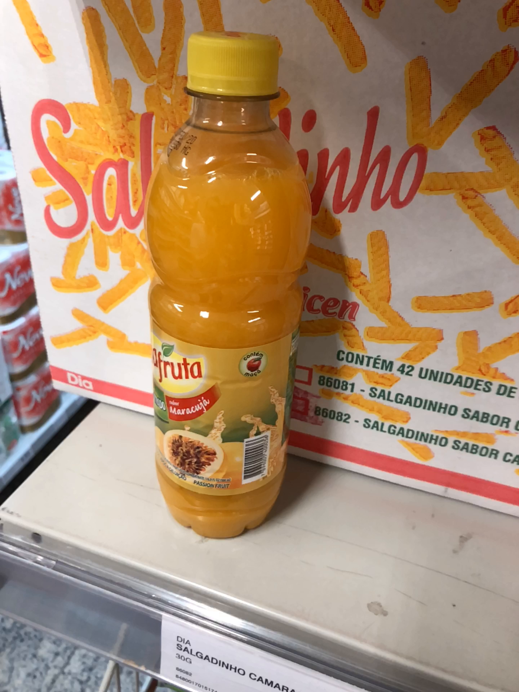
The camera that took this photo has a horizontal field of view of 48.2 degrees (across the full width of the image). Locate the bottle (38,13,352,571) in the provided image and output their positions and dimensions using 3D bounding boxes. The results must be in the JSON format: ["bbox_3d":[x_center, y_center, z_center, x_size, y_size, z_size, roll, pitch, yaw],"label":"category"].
[{"bbox_3d":[-0.021,-0.012,0.228,0.070,0.198,0.060,23,40,27],"label":"bottle"}]
